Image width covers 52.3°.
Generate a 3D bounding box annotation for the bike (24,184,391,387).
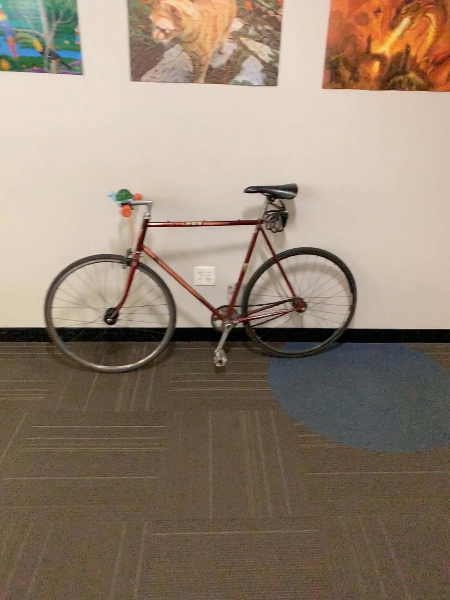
[{"bbox_3d":[-0.086,-0.102,2.413,1.626,0.909,0.451,-2,26,-9],"label":"bike"}]
